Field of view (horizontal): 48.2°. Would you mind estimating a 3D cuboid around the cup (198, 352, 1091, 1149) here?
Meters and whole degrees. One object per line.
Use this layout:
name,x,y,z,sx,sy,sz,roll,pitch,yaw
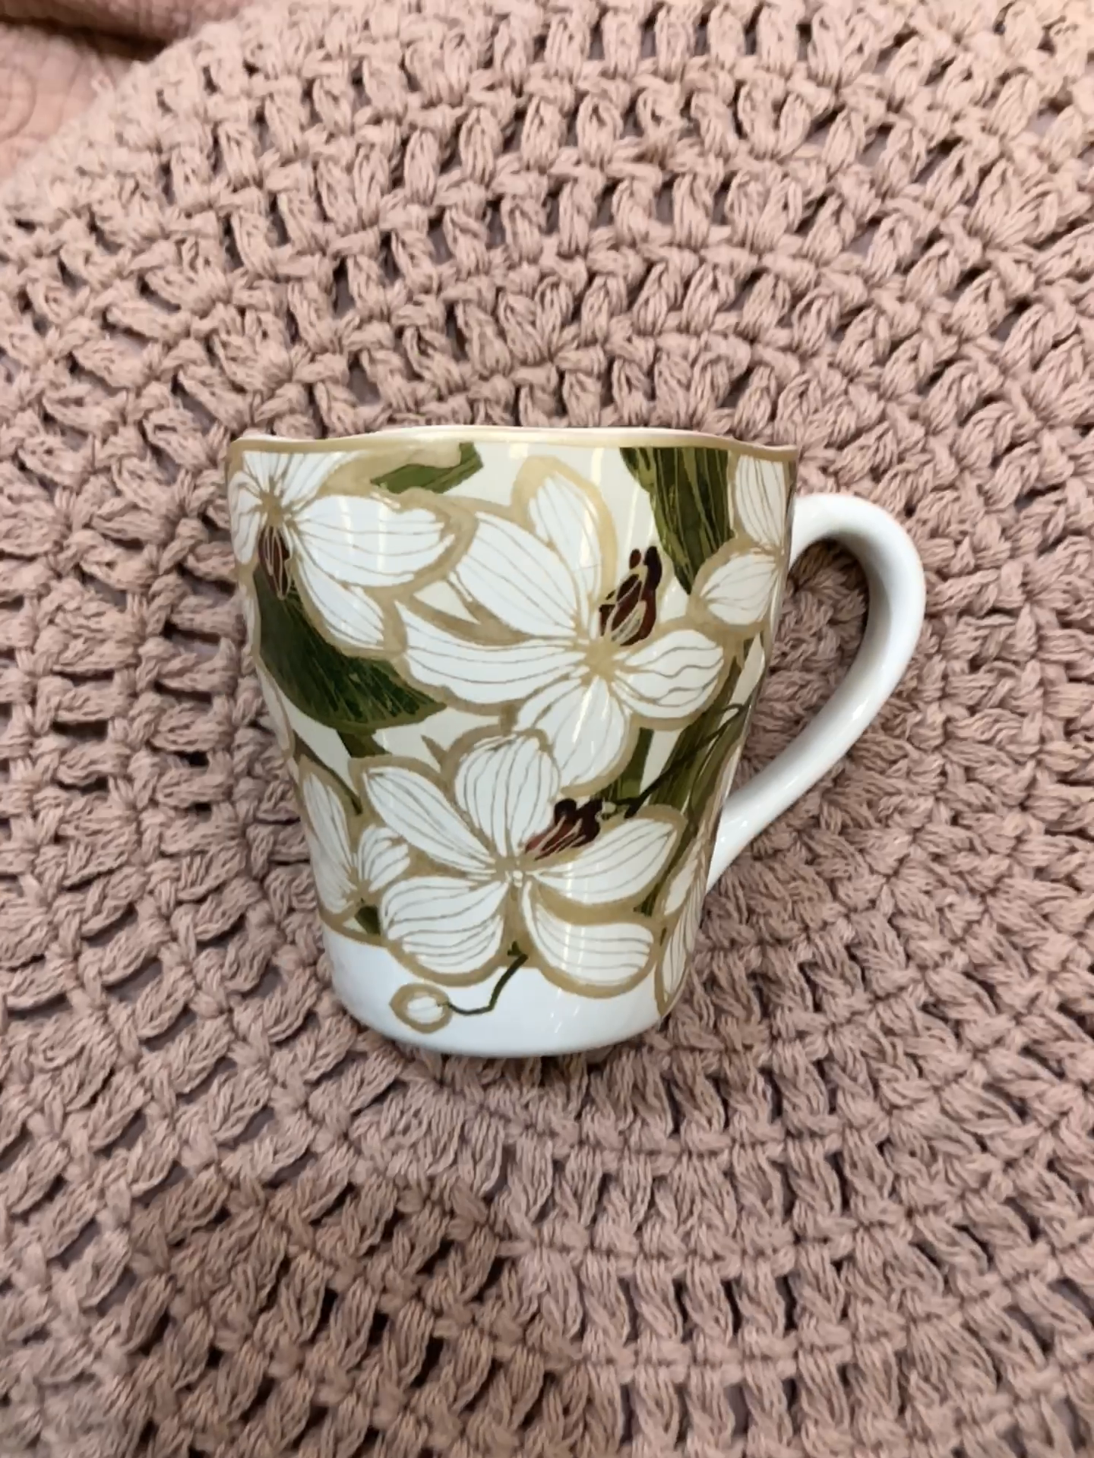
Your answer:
cup,0.012,-0.005,0.238,0.140,0.090,0.120,-3,100,-11
